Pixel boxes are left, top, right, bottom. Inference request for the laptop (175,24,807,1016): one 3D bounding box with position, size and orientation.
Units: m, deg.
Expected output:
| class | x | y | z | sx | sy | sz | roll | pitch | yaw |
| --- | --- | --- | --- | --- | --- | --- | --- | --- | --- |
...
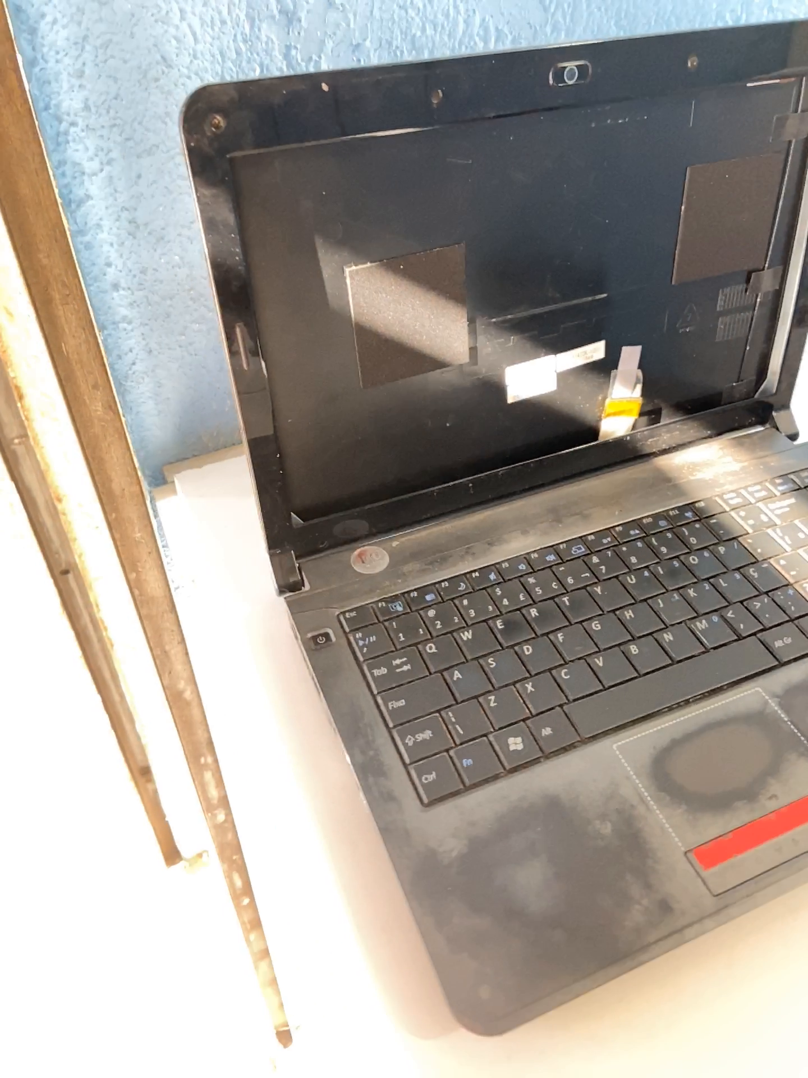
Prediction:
| class | x | y | z | sx | sy | sz | roll | pitch | yaw |
| --- | --- | --- | --- | --- | --- | --- | --- | --- | --- |
| laptop | 0.123 | -0.046 | 0.353 | 0.335 | 0.216 | 0.277 | -16 | 47 | -17 |
